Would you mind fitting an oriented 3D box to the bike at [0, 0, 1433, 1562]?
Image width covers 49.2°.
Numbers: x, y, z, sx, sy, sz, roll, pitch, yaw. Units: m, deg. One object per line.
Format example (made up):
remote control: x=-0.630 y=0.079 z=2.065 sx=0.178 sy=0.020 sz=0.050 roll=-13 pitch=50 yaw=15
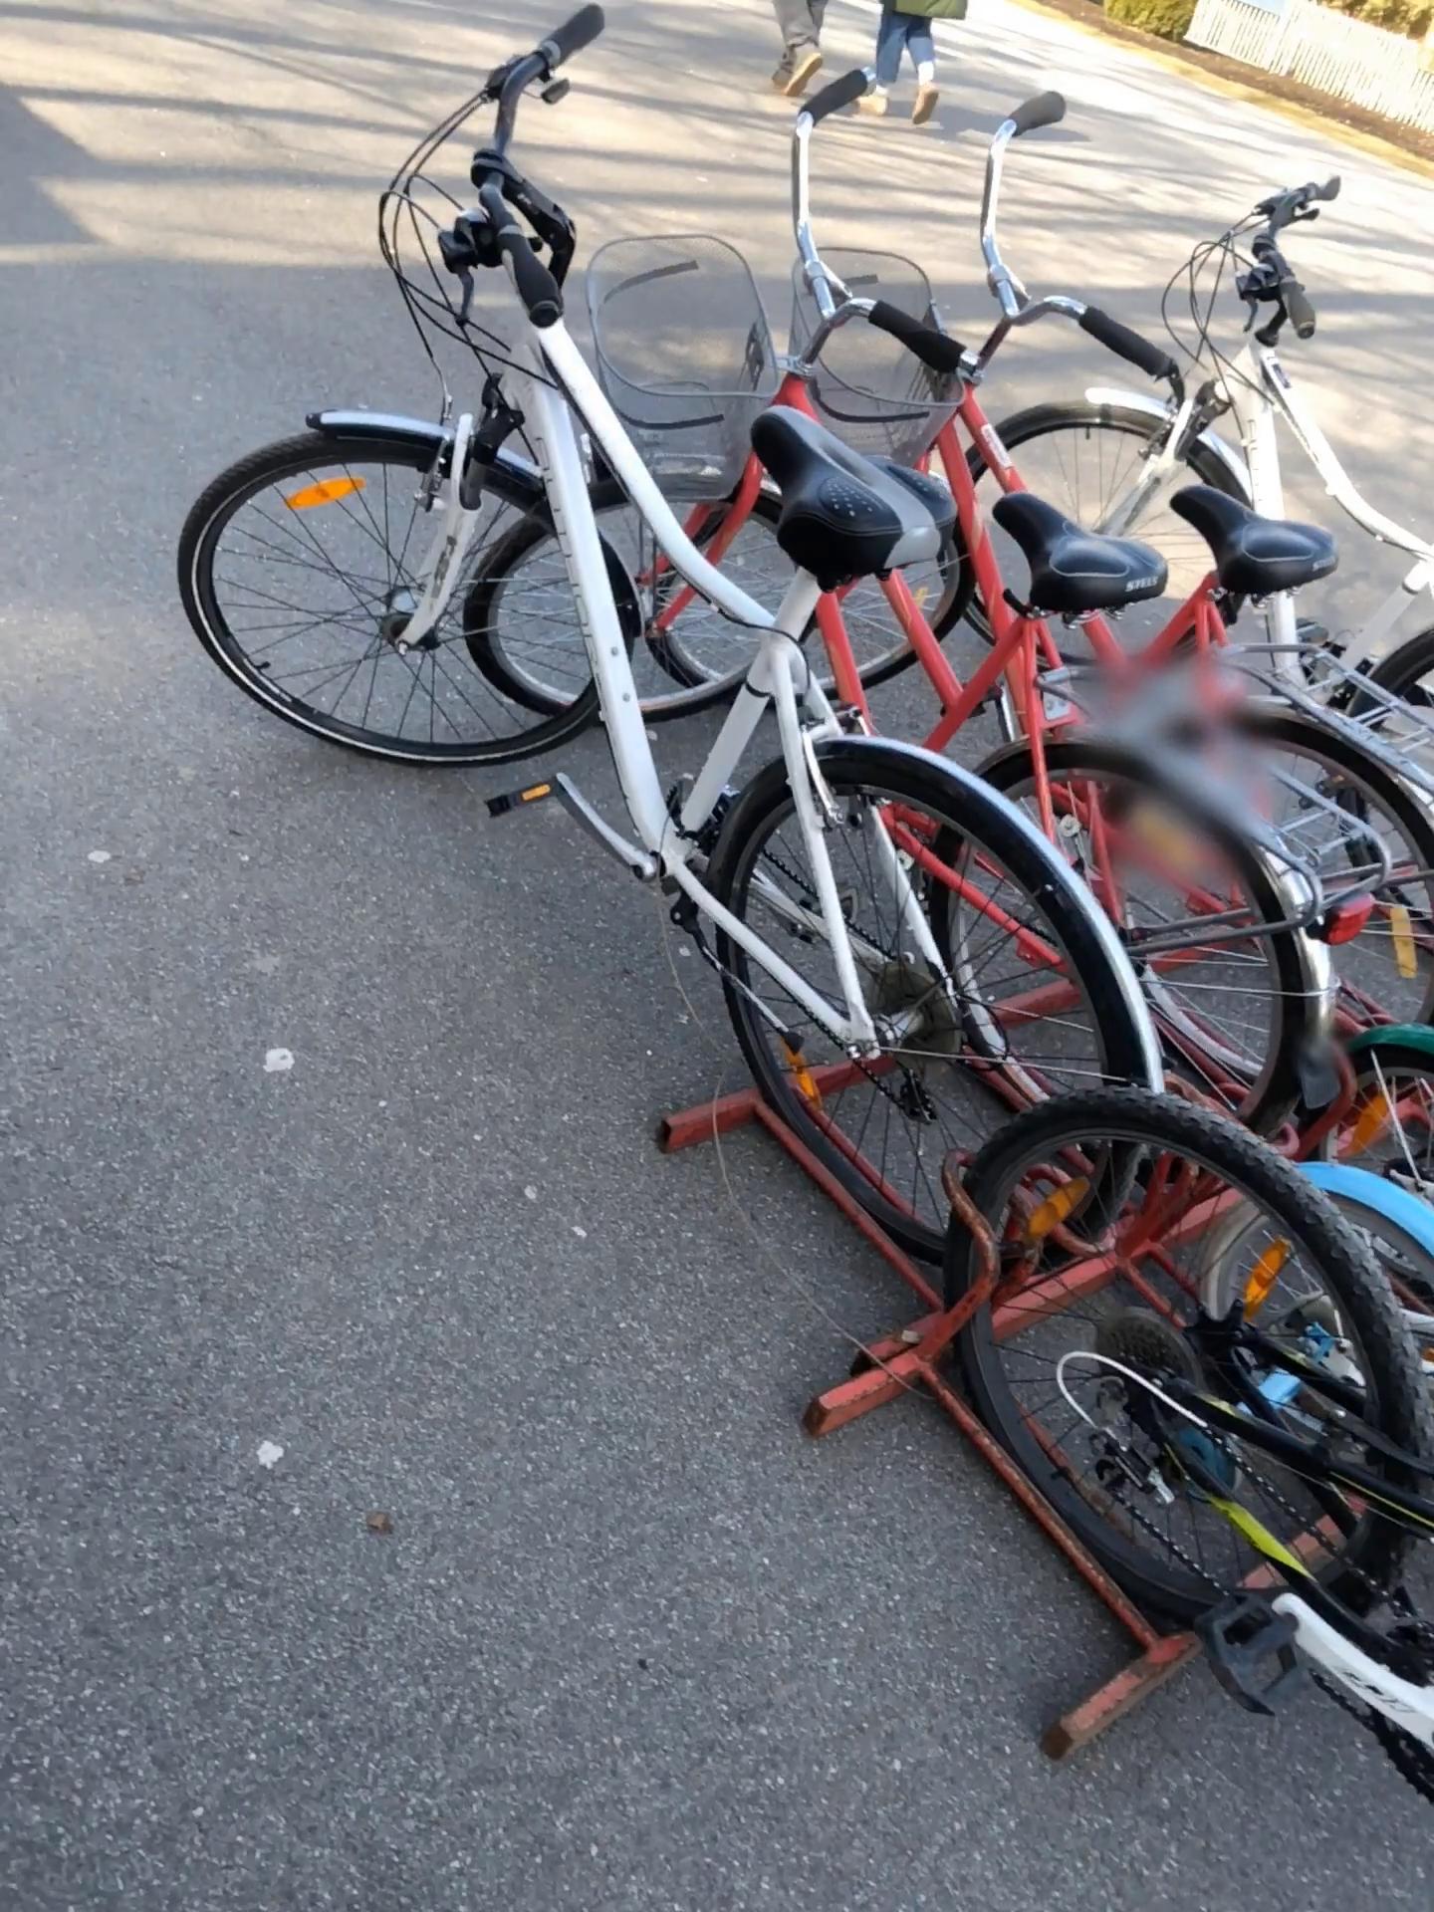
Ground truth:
bike: x=-0.118 y=-0.333 z=1.870 sx=1.602 sy=1.163 sz=0.622 roll=36 pitch=37 yaw=22
